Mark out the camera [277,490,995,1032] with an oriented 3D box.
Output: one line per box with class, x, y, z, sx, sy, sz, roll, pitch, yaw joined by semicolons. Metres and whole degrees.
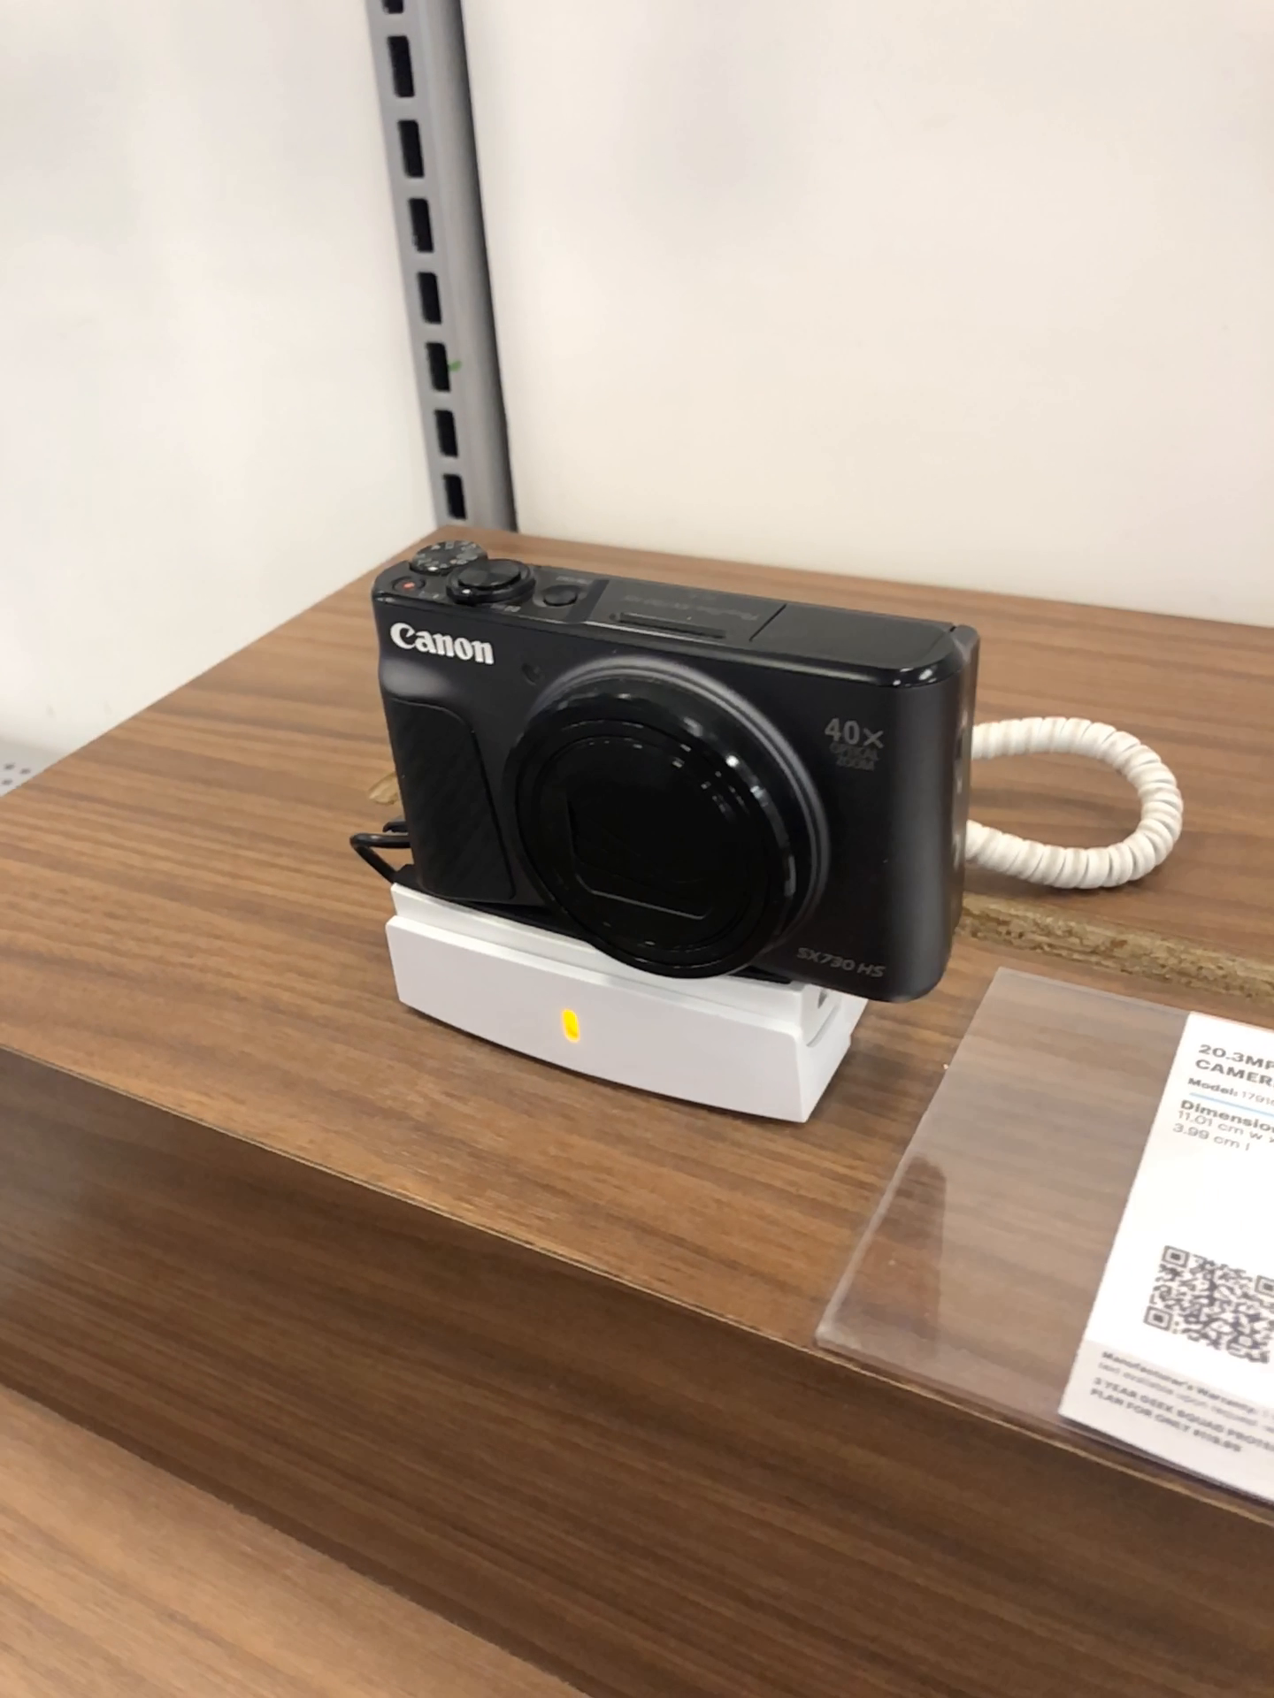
camera;-0.002;-0.019;0.254;0.120;0.070;0.030;13;35;27
